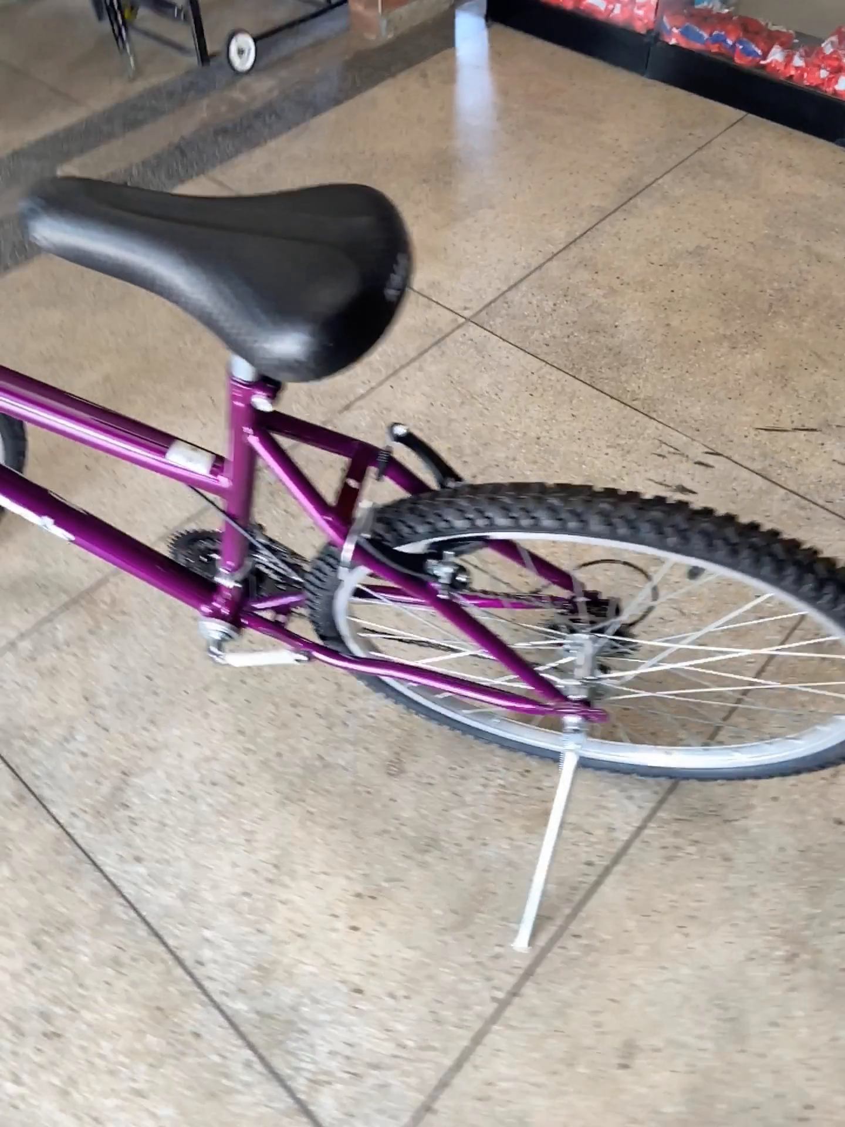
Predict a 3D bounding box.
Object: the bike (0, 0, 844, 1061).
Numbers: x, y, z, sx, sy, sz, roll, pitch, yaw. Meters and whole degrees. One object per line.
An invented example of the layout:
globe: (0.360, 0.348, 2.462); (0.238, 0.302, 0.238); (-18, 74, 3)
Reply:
bike: (-0.274, -0.011, 0.758); (1.521, 1.035, 0.575); (2, 52, 2)
